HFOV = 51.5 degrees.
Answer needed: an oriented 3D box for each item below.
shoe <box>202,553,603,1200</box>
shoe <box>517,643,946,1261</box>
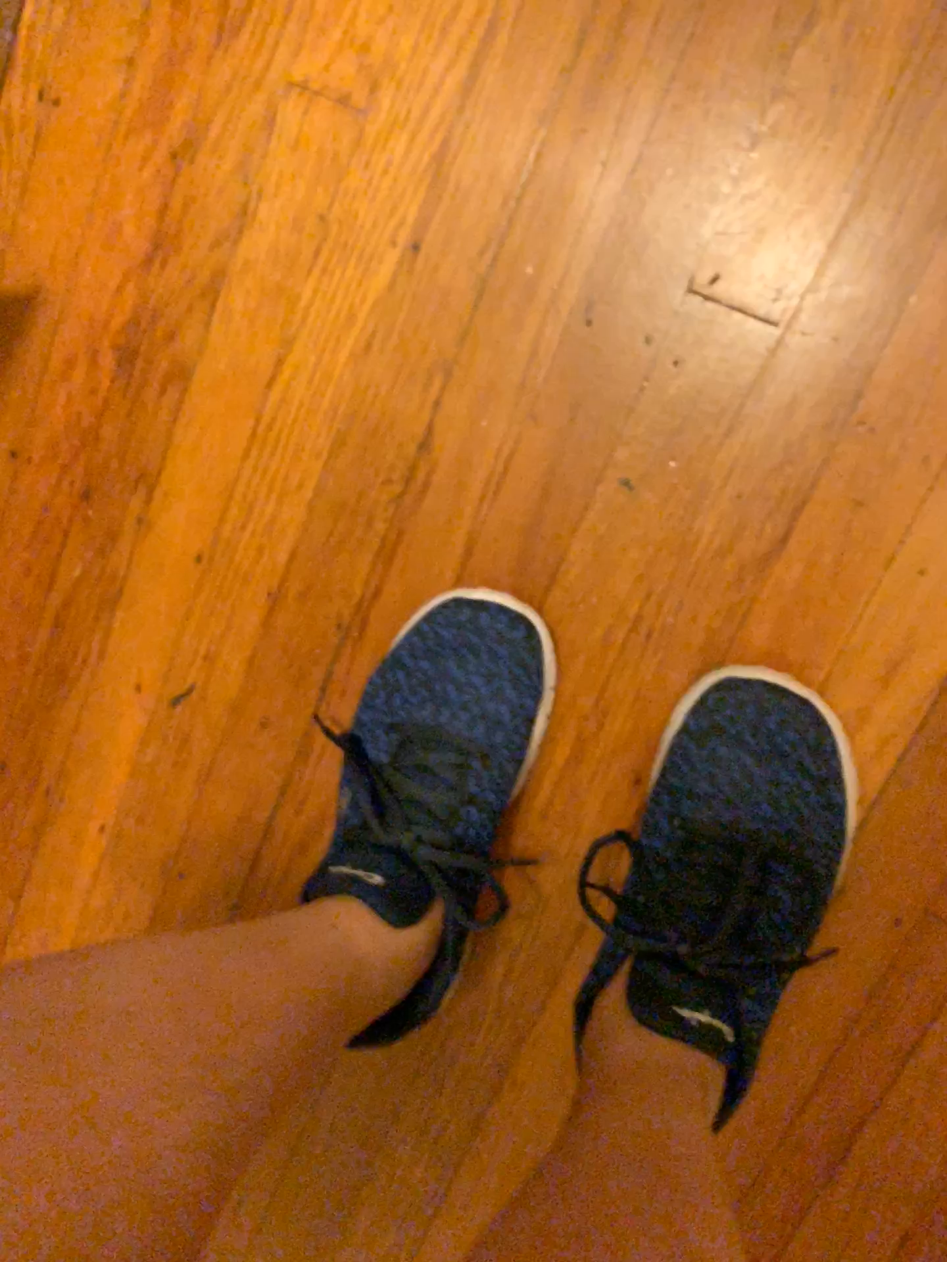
[{"bbox_3d":[-0.034,0.117,0.539,0.115,0.150,0.290,17,103,14],"label":"shoe"},{"bbox_3d":[0.122,0.164,0.489,0.118,0.130,0.280,14,103,14],"label":"shoe"}]
